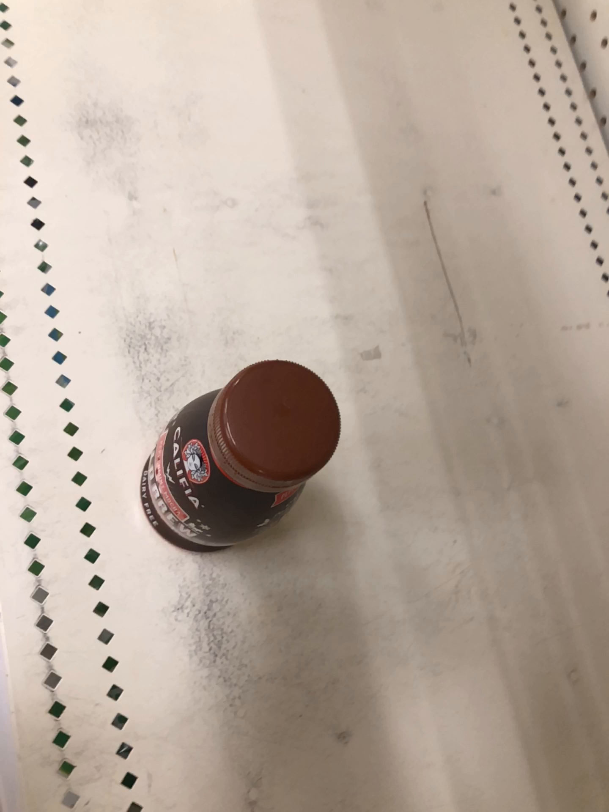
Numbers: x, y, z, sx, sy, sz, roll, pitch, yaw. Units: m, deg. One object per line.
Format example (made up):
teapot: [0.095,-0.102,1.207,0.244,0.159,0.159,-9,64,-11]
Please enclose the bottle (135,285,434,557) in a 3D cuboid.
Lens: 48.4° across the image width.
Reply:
bottle: [-0.023,0.016,0.279,0.080,0.150,0.070,-5,76,-17]
